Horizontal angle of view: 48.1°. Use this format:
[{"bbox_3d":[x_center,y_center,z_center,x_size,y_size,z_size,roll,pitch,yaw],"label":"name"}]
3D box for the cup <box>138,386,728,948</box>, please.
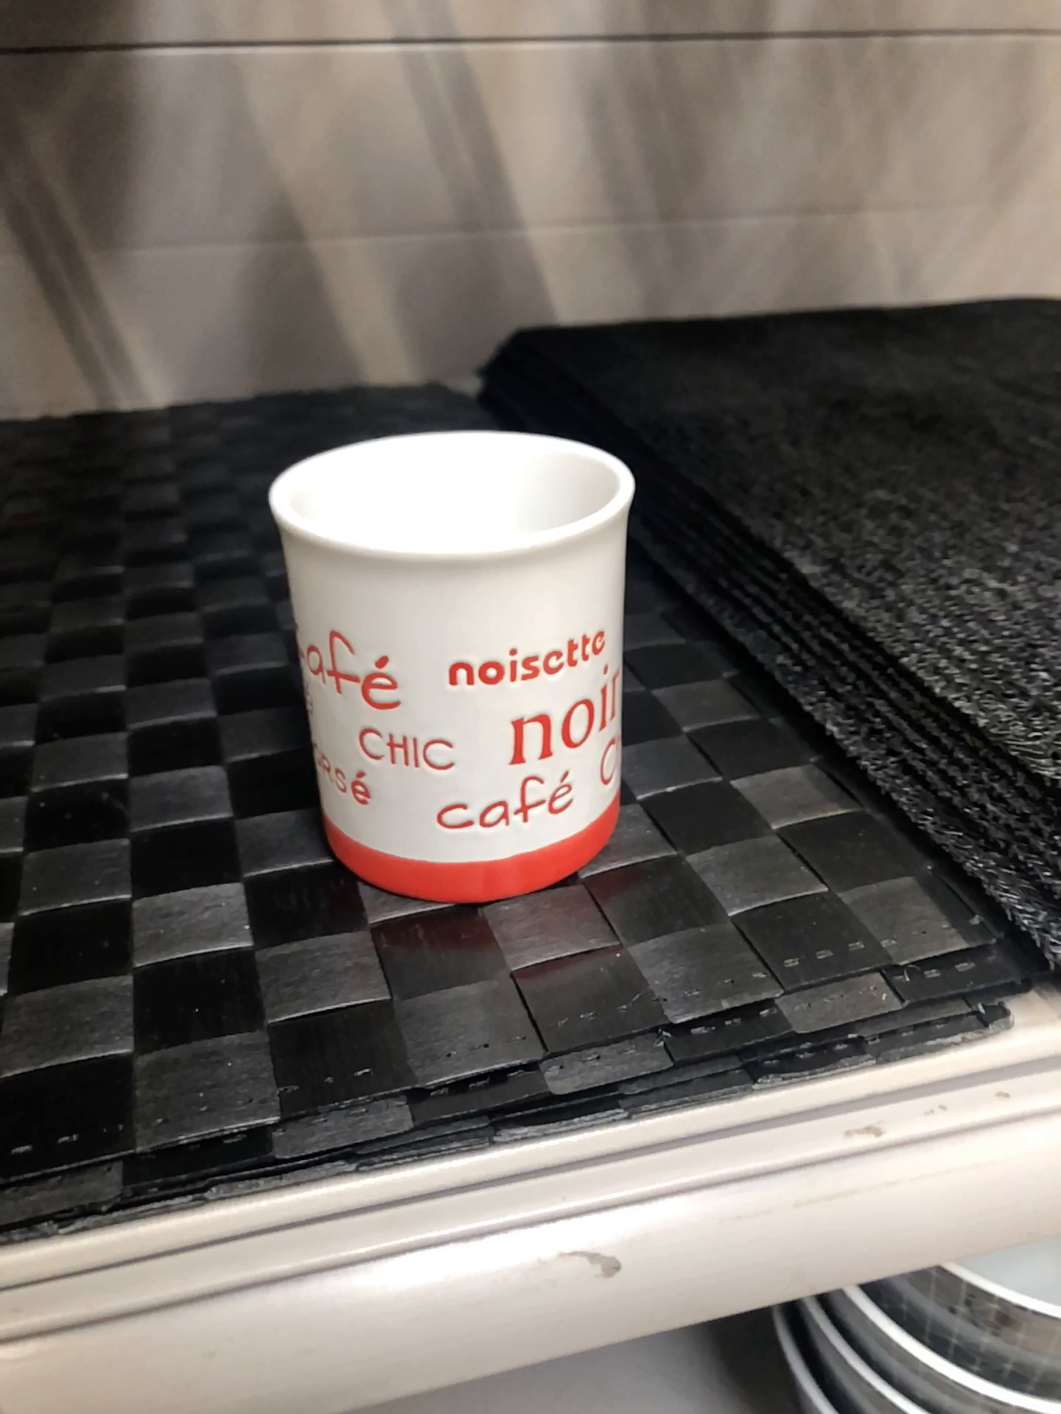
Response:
[{"bbox_3d":[-0.011,-0.016,0.232,0.067,0.064,0.097,13,31,24],"label":"cup"}]
